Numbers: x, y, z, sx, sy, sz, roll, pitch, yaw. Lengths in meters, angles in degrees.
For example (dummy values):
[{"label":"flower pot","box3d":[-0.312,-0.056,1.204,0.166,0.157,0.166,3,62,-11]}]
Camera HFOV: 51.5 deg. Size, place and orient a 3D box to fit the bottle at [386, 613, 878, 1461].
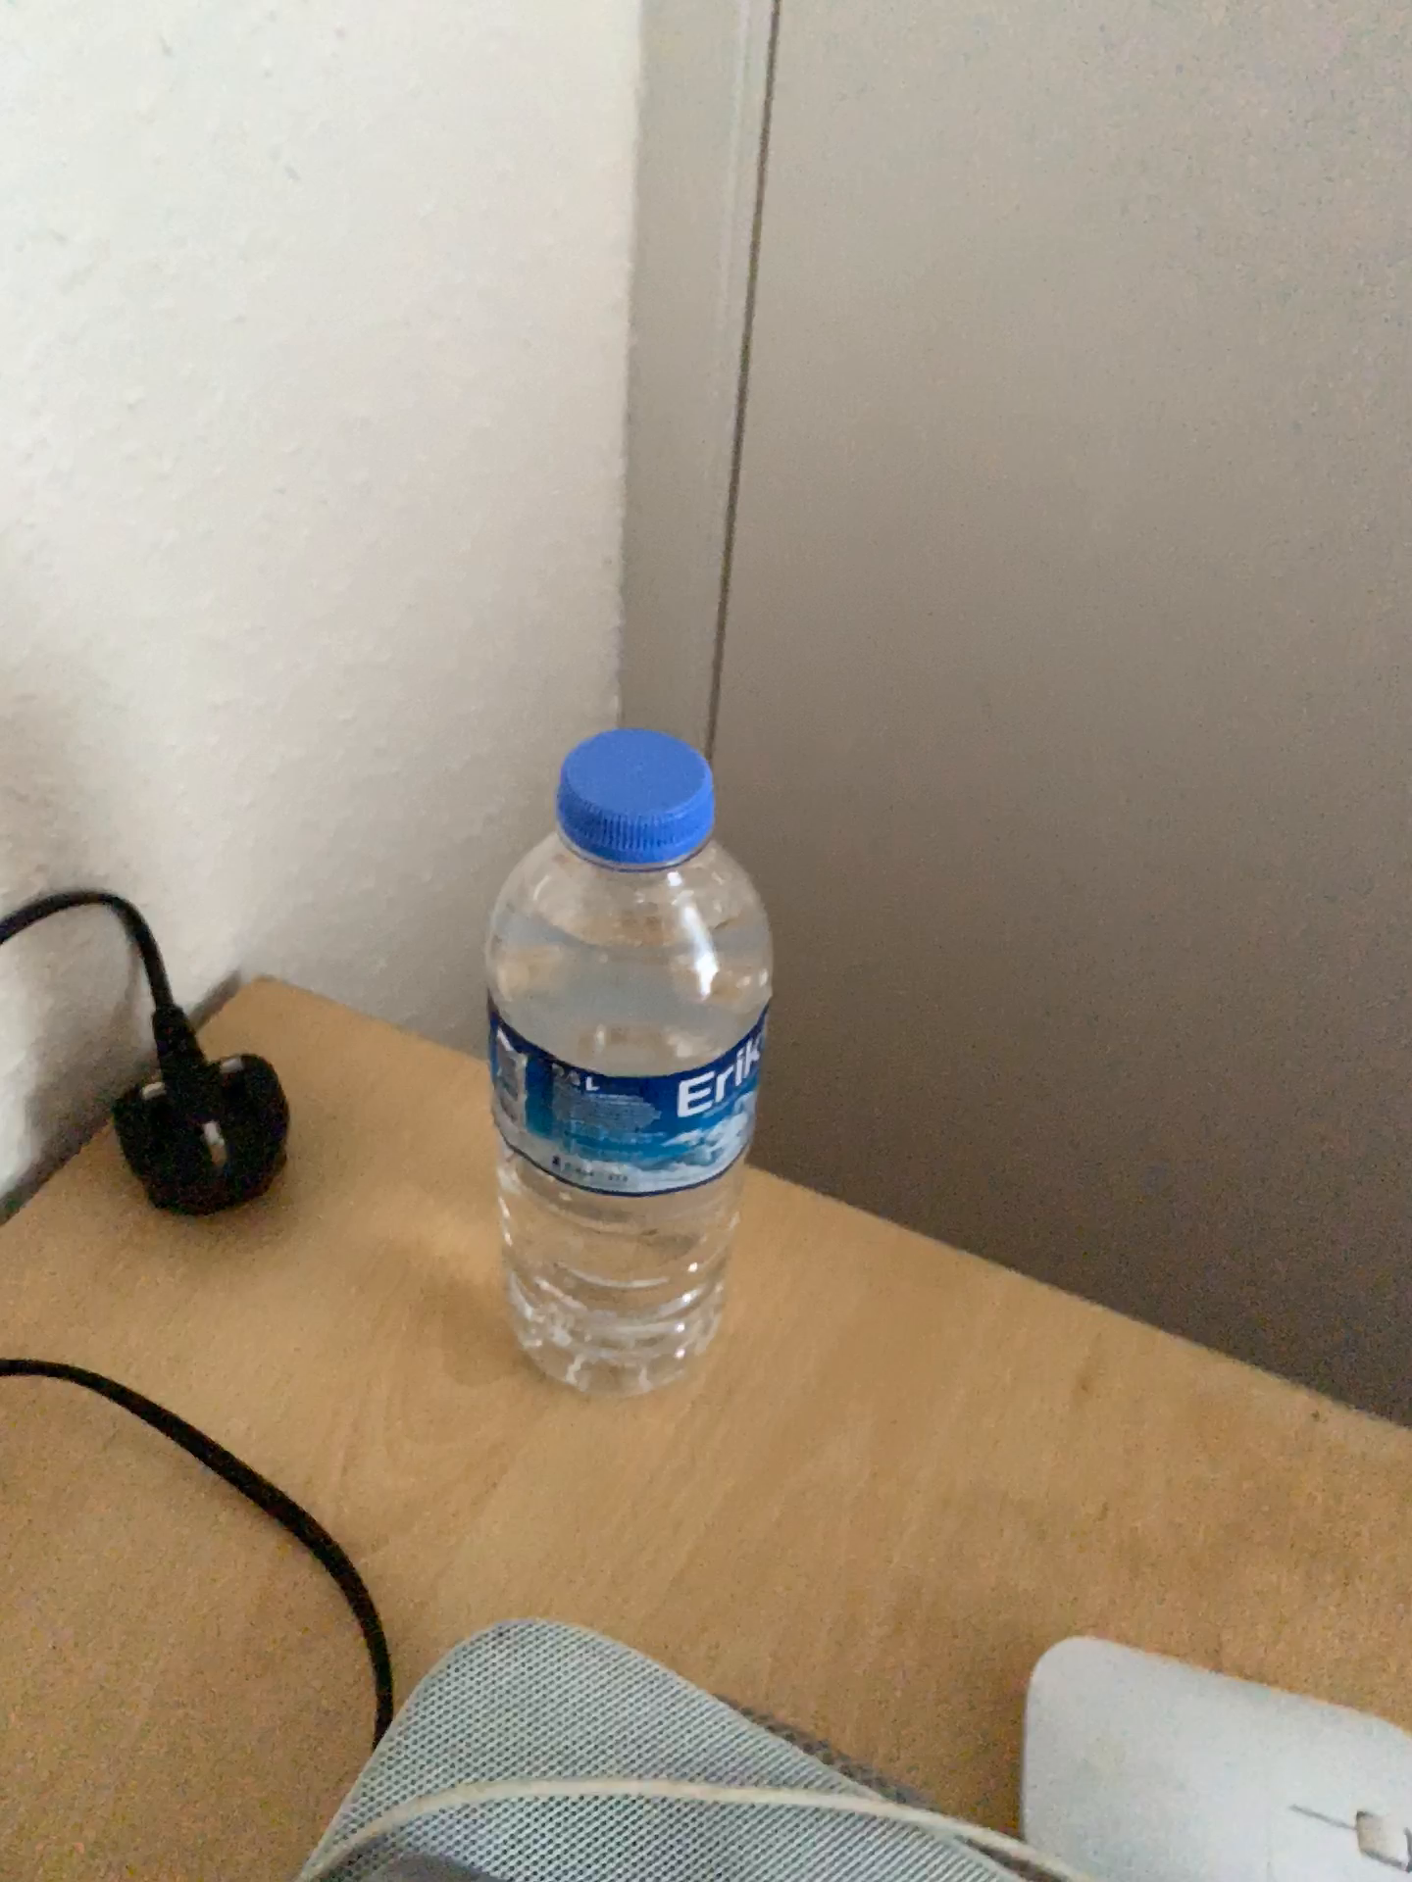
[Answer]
[{"label":"bottle","box3d":[-0.021,0.030,0.355,0.070,0.188,0.070,3,40,-3]}]
